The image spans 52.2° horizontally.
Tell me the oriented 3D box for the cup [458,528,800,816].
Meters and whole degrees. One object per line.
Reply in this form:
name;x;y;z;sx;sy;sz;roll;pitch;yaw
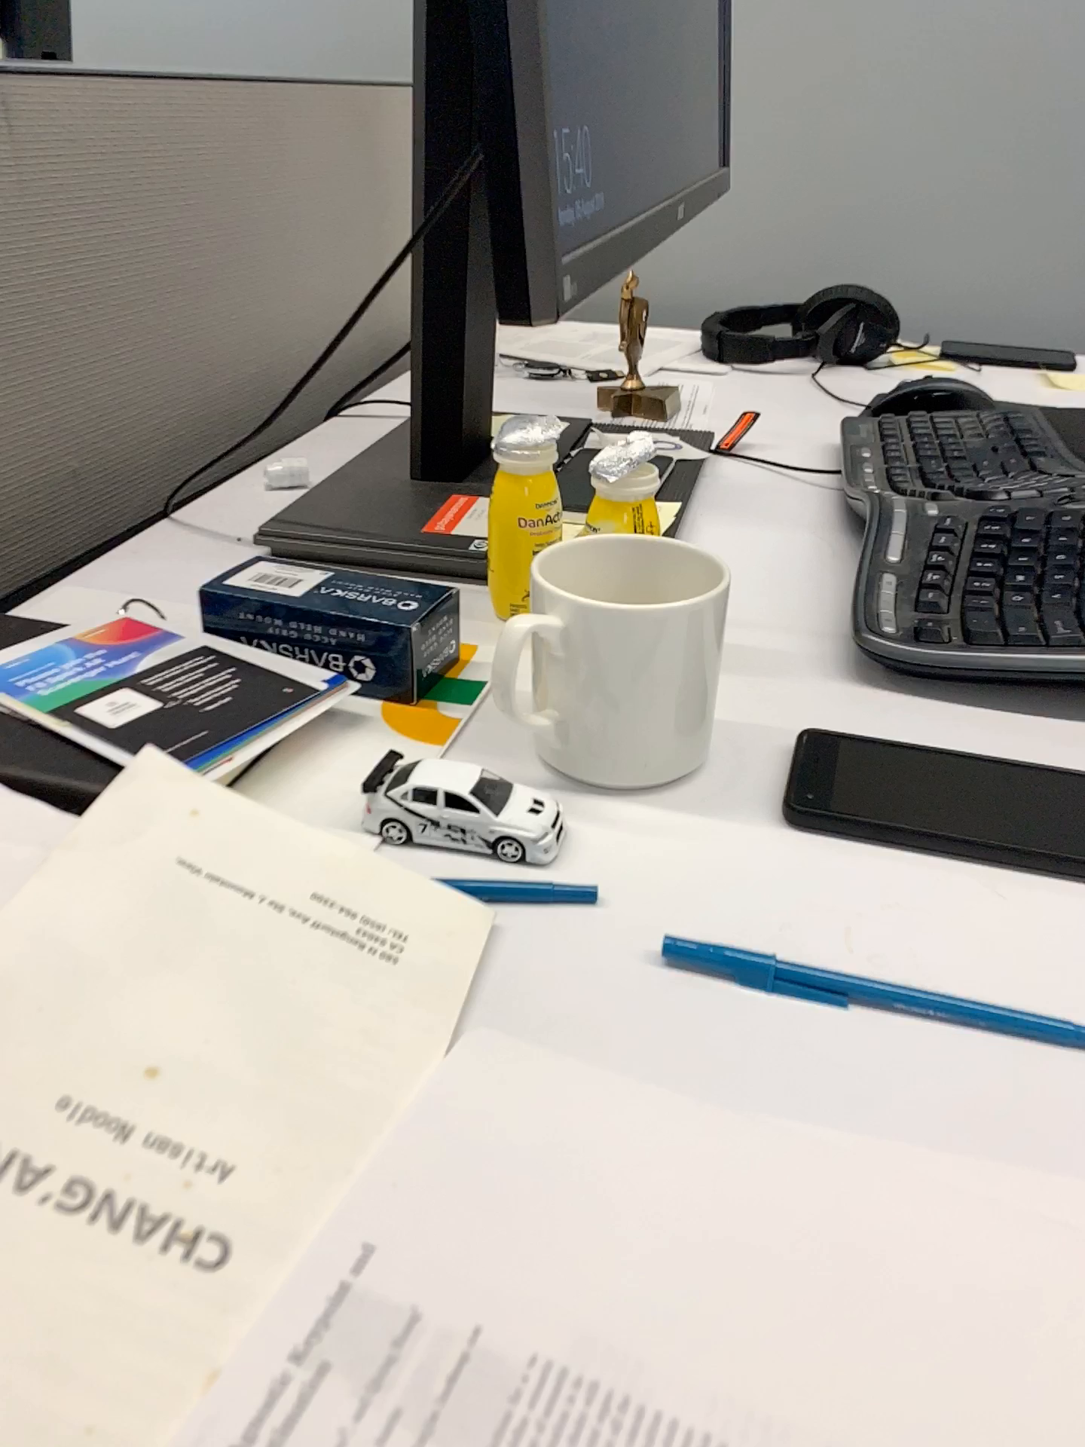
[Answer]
cup;0.034;-0.026;0.469;0.120;0.080;0.070;-13;32;-25
